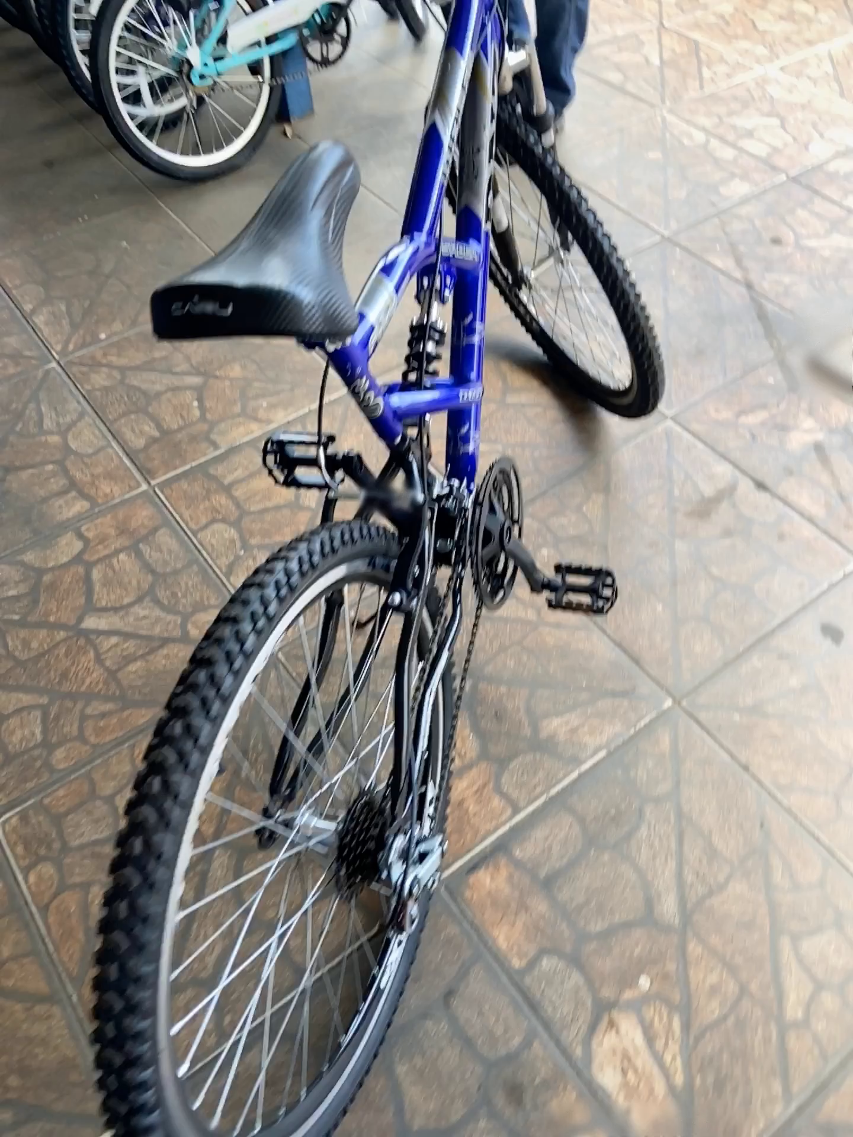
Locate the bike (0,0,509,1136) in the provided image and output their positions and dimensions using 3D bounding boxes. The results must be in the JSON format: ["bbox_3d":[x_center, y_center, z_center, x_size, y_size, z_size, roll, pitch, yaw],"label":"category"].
[{"bbox_3d":[-0.233,-0.215,1.119,0.514,1.020,1.618,6,52,8],"label":"bike"}]
